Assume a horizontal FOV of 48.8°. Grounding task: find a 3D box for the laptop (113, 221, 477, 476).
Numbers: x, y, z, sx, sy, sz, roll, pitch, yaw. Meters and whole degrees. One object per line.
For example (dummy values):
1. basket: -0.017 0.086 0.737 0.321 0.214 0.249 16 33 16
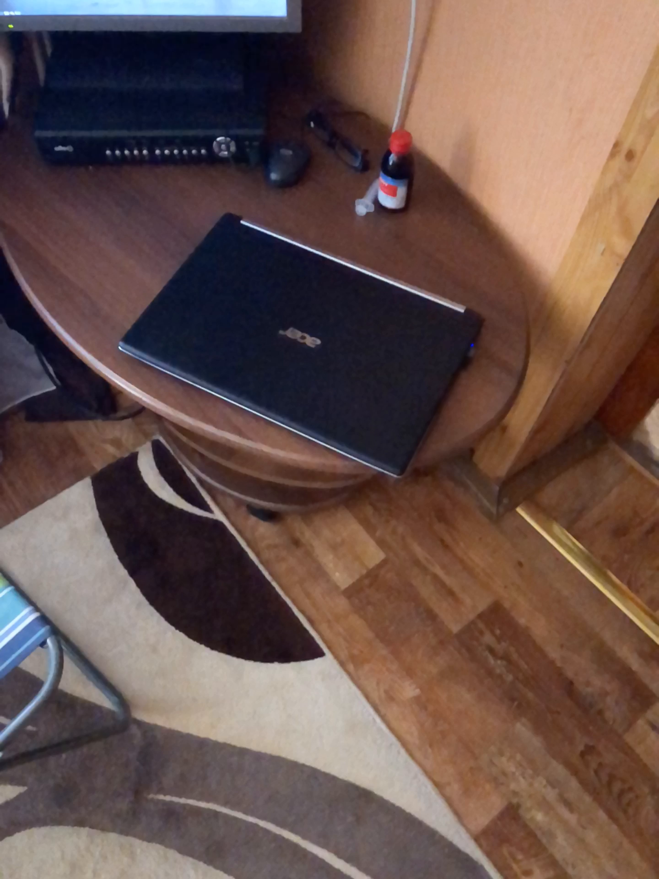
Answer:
1. laptop: -0.037 -0.125 0.875 0.363 0.004 0.240 25 62 12
